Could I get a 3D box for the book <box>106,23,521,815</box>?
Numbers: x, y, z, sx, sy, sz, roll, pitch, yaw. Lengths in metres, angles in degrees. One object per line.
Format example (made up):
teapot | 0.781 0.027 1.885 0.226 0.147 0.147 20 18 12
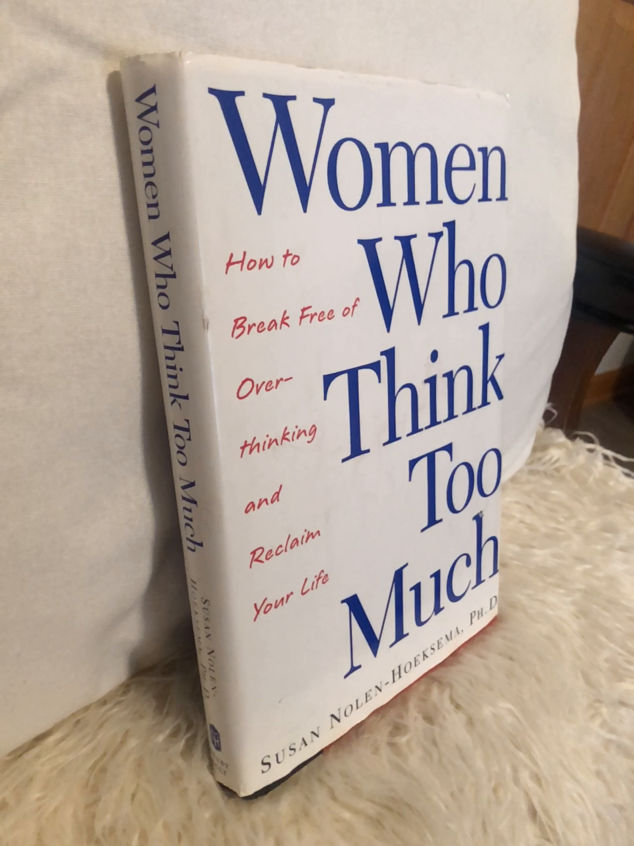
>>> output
book | 0.019 -0.006 0.279 0.167 0.241 0.040 -17 20 -42
